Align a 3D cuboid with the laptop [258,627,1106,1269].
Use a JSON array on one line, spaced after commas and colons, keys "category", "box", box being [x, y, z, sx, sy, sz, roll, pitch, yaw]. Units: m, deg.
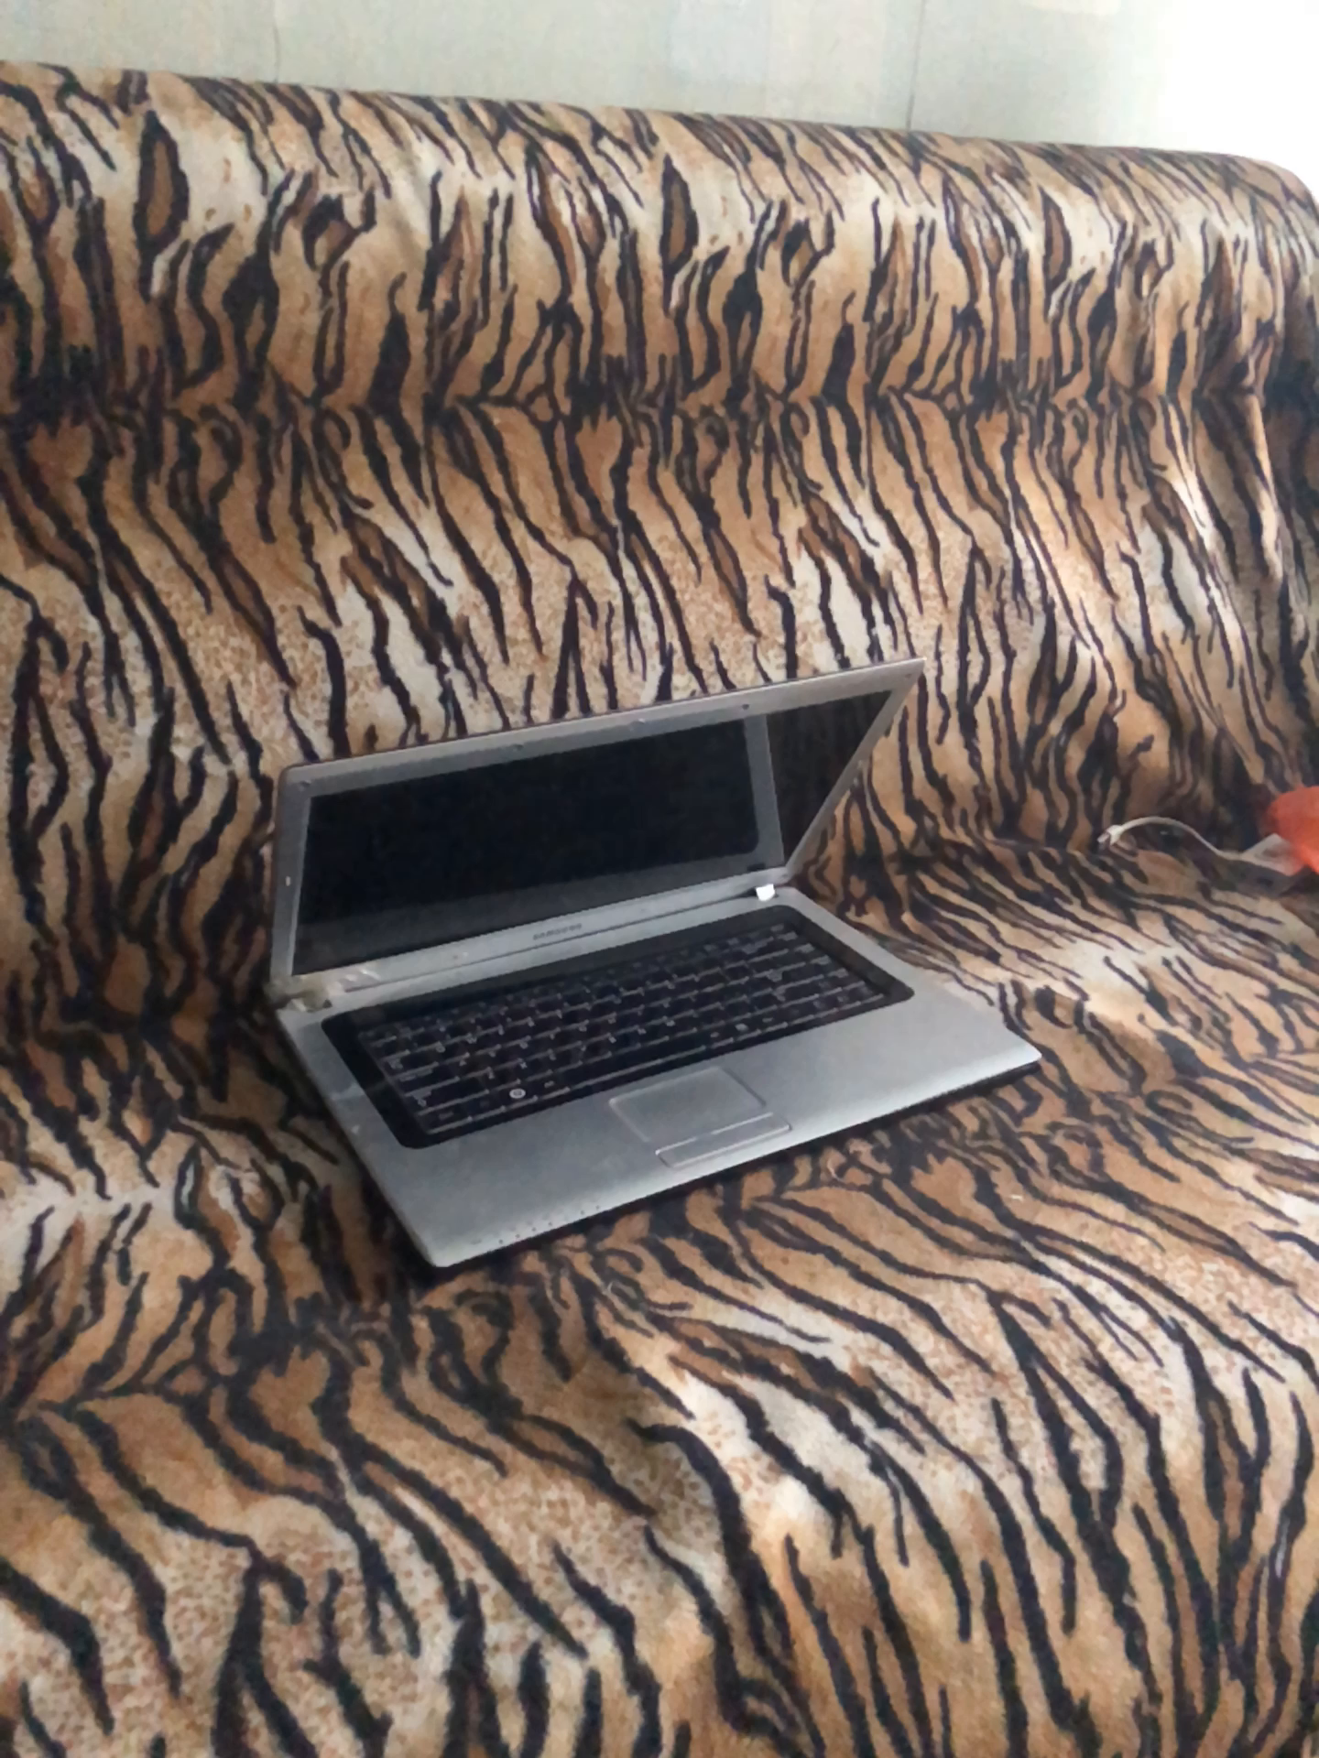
[{"category": "laptop", "box": [0.002, 0.007, 0.762, 0.351, 0.179, 0.239, -12, 30, -28]}]
